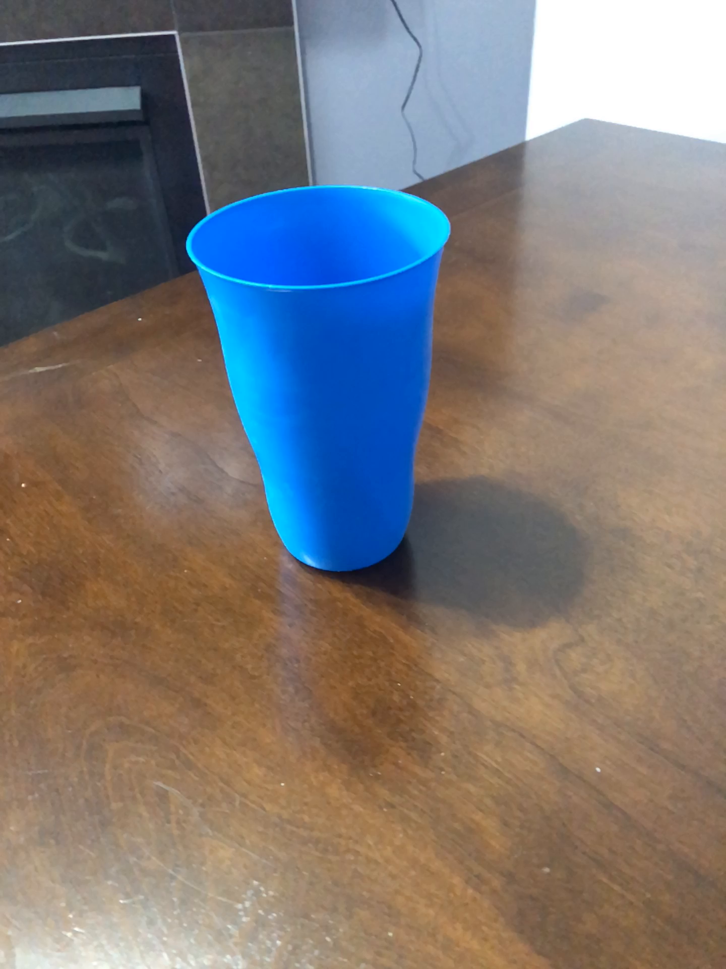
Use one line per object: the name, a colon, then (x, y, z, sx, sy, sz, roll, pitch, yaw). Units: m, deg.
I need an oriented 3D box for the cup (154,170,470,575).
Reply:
cup: (-0.010, -0.045, 0.332, 0.100, 0.129, 0.100, -2, 38, 2)
